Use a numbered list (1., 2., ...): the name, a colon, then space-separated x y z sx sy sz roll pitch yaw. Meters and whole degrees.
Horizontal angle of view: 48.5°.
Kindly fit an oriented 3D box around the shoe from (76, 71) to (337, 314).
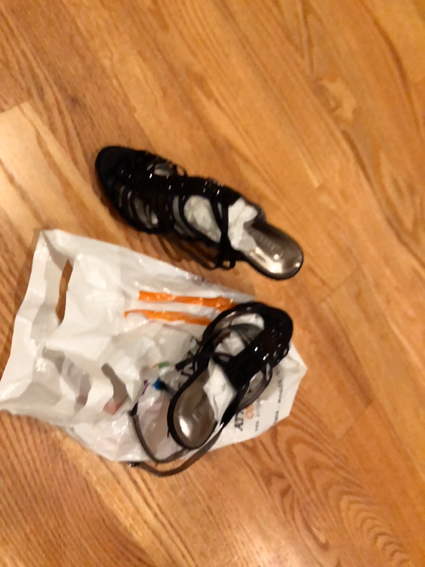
1. shoe: -0.005 -0.071 0.462 0.217 0.113 0.090 41 70 -20

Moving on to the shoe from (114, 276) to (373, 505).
1. shoe: 0.033 0.089 0.471 0.218 0.113 0.092 -33 102 -26
